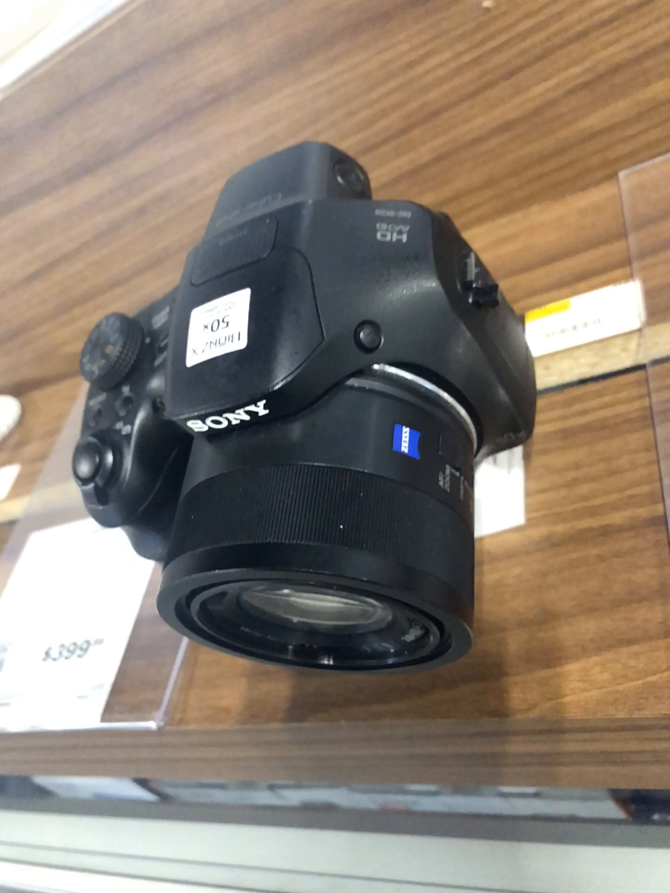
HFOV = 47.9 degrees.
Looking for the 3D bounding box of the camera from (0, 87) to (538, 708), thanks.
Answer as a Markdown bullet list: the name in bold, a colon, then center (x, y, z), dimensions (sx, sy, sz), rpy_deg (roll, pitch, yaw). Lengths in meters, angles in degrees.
- **camera**: center (-0.024, -0.003, 0.198), dimensions (0.125, 0.084, 0.110), rpy_deg (-13, 45, 31)
